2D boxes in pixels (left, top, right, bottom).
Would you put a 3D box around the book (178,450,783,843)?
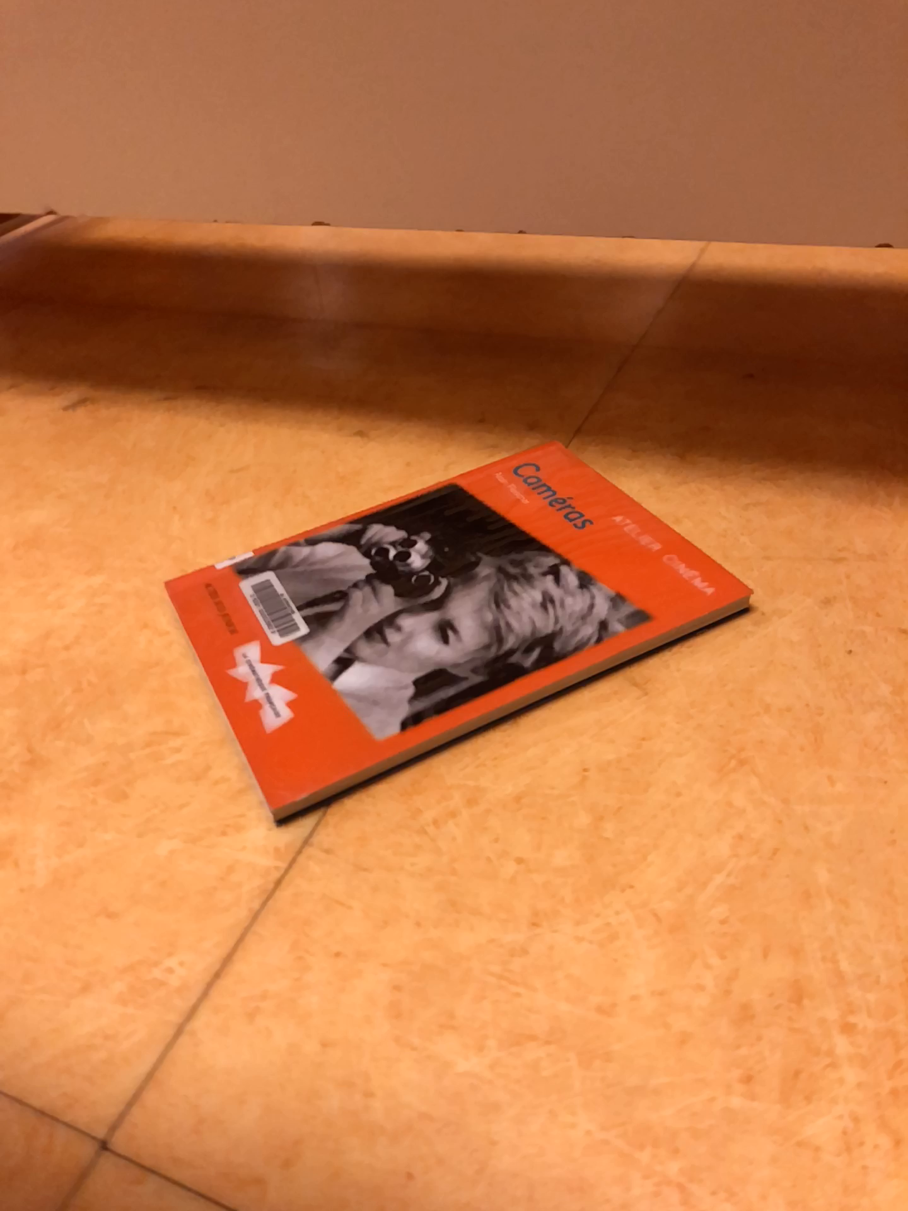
[{"bbox_3d":[0.004,0.001,0.420,0.206,0.011,0.155,-21,39,-17],"label":"book"}]
